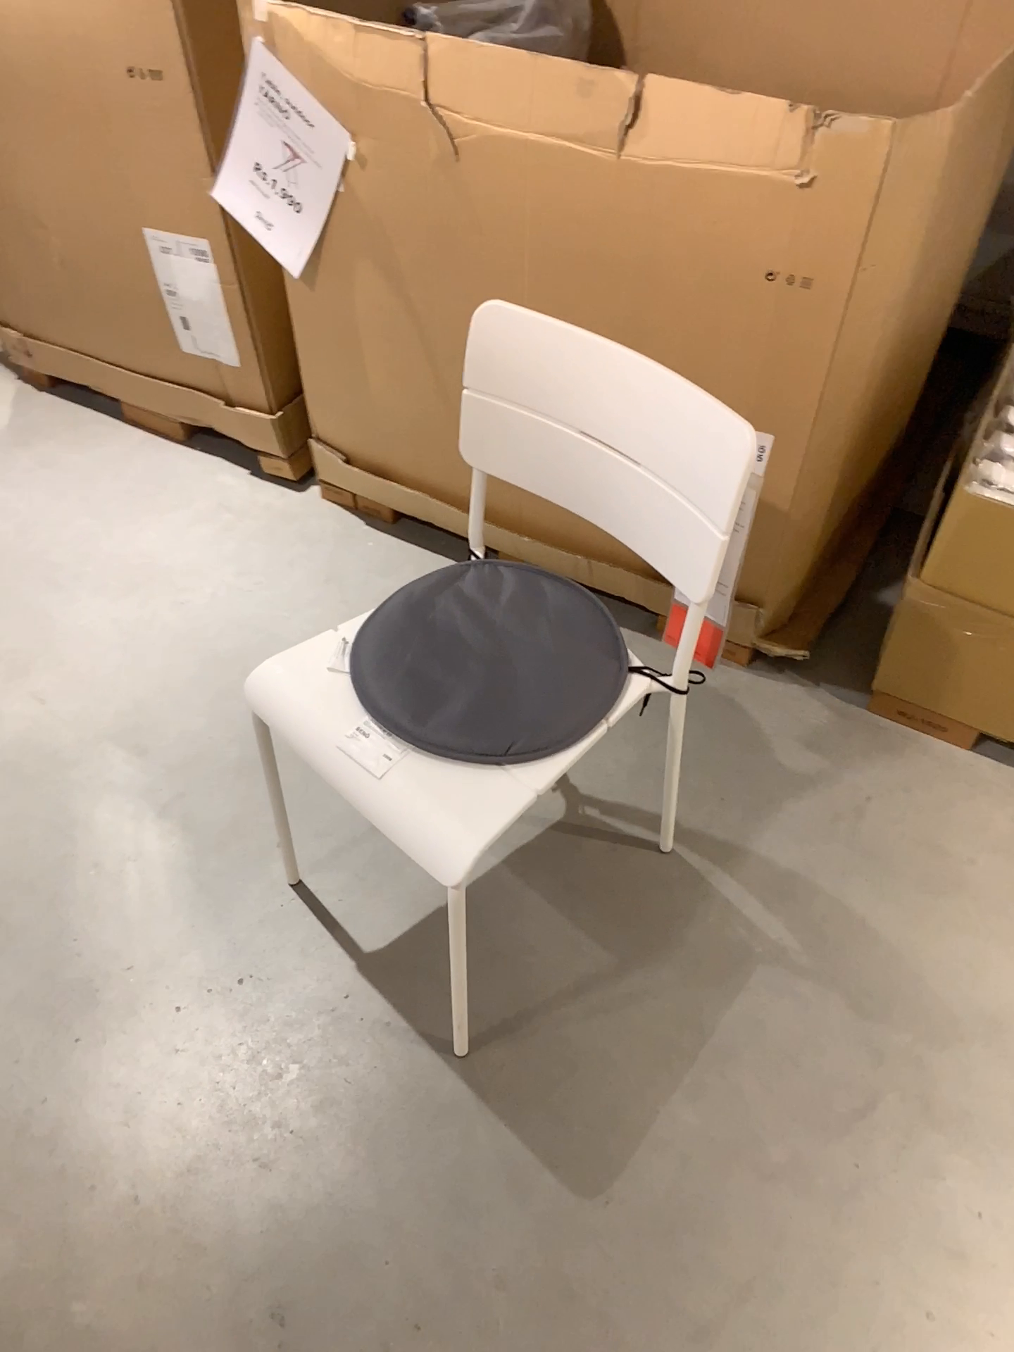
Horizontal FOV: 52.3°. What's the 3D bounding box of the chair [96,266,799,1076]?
[{"bbox_3d":[-0.058,0.007,1.252,0.491,0.717,0.461,-35,57,-29],"label":"chair"}]
